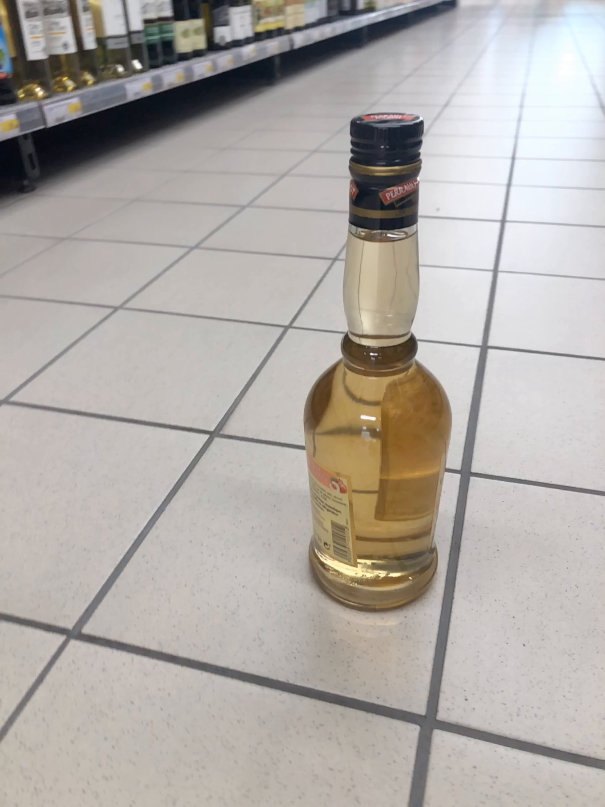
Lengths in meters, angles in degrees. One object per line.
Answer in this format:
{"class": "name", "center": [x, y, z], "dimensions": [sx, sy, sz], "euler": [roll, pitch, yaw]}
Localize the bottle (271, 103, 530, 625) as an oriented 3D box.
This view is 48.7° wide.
{"class": "bottle", "center": [0.042, -0.013, 0.348], "dimensions": [0.080, 0.249, 0.080], "euler": [-1, 31, 1]}
